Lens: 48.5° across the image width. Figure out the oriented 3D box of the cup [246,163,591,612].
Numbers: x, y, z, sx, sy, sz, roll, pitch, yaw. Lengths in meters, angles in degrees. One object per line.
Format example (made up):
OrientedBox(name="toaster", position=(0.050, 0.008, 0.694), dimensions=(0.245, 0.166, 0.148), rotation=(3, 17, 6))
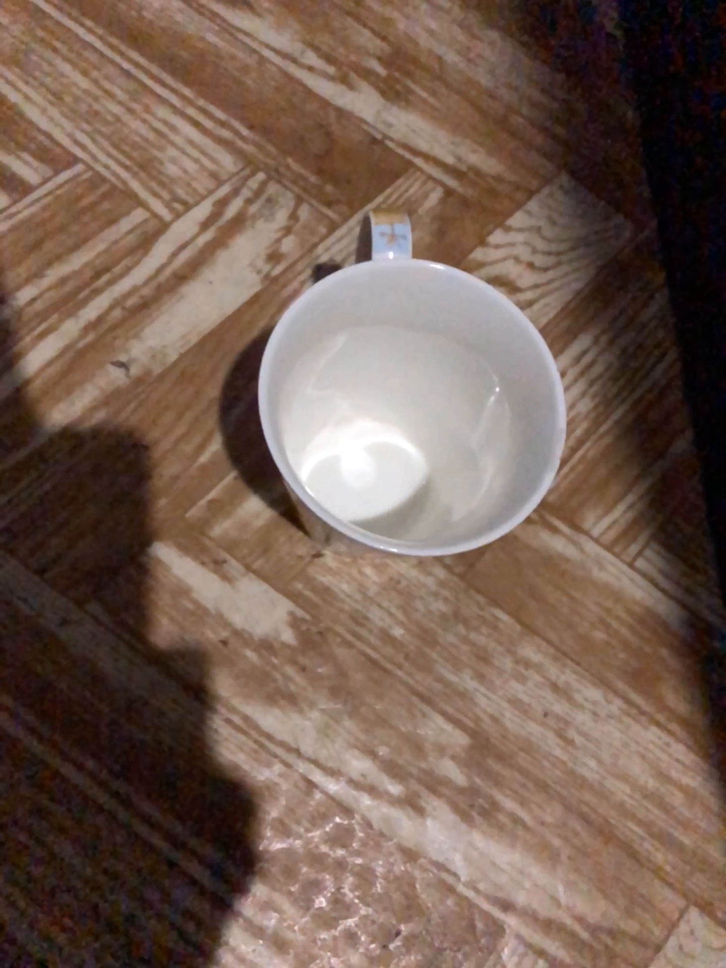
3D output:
OrientedBox(name="cup", position=(0.008, -0.025, 0.271), dimensions=(0.087, 0.093, 0.120), rotation=(-2, 75, -10))
